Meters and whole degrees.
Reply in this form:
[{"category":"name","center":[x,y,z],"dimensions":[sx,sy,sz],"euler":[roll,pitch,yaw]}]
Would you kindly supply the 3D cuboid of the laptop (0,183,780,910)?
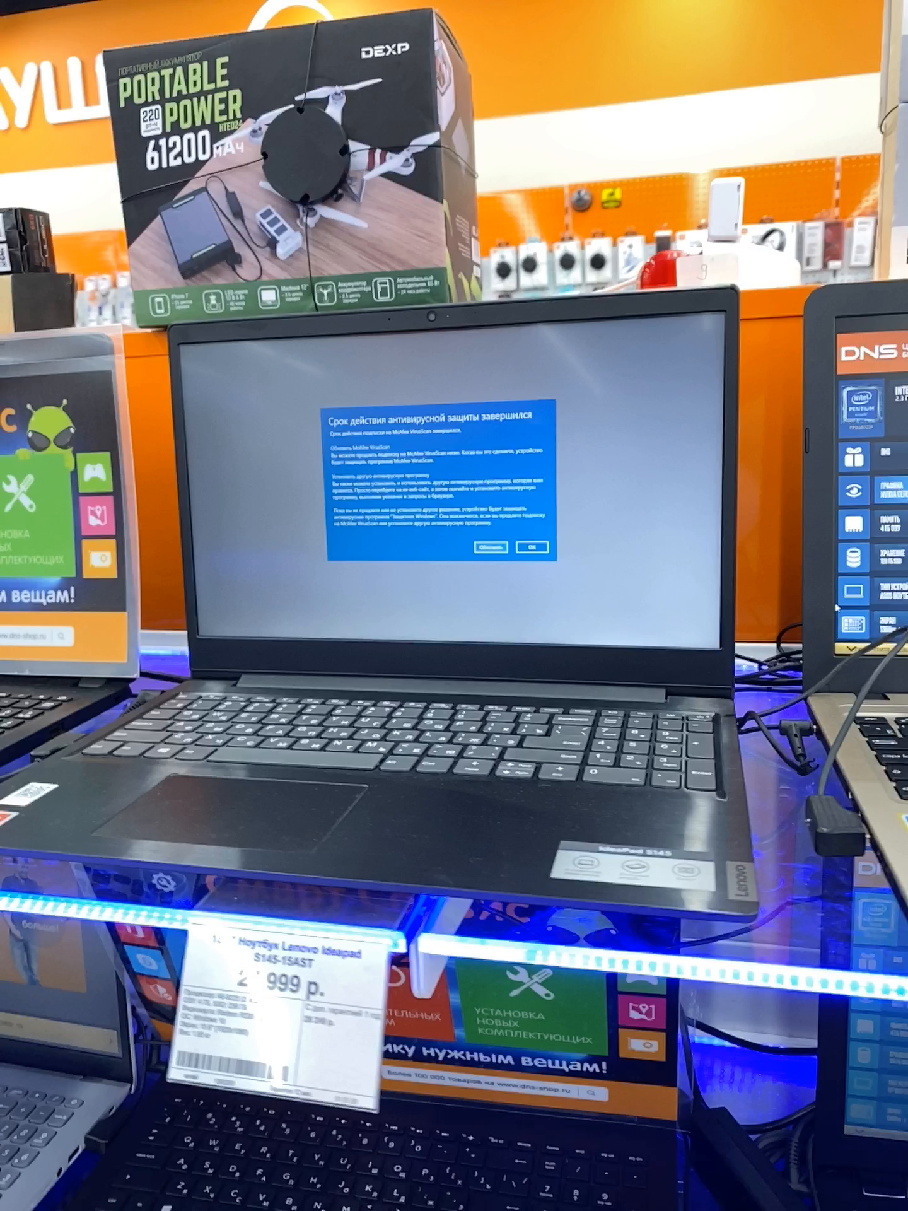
[{"category":"laptop","center":[-0.037,-0.039,0.482],"dimensions":[0.361,0.240,0.273],"euler":[0,11,15]}]
